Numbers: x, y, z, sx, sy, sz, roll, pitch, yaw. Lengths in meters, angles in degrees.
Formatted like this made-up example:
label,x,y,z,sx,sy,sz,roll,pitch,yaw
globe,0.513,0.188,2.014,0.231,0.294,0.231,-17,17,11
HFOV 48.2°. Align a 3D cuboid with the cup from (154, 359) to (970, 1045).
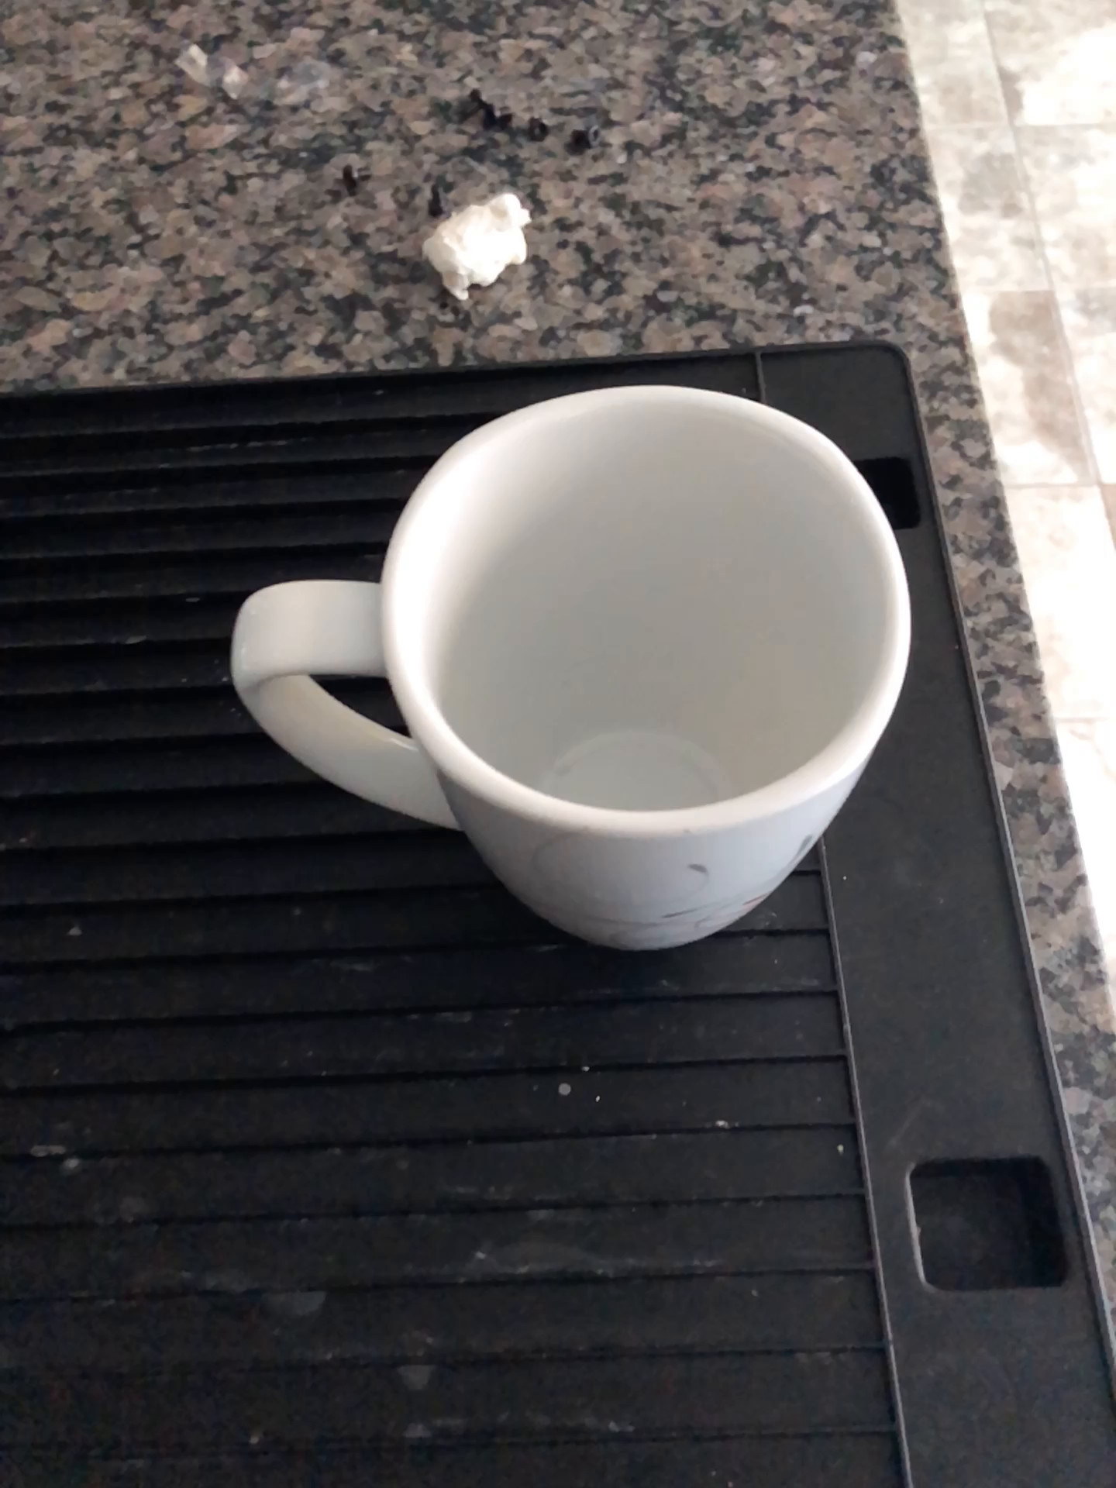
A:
label,x,y,z,sx,sy,sz,roll,pitch,yaw
cup,0.000,-0.001,0.244,0.116,0.105,0.088,-3,63,1
